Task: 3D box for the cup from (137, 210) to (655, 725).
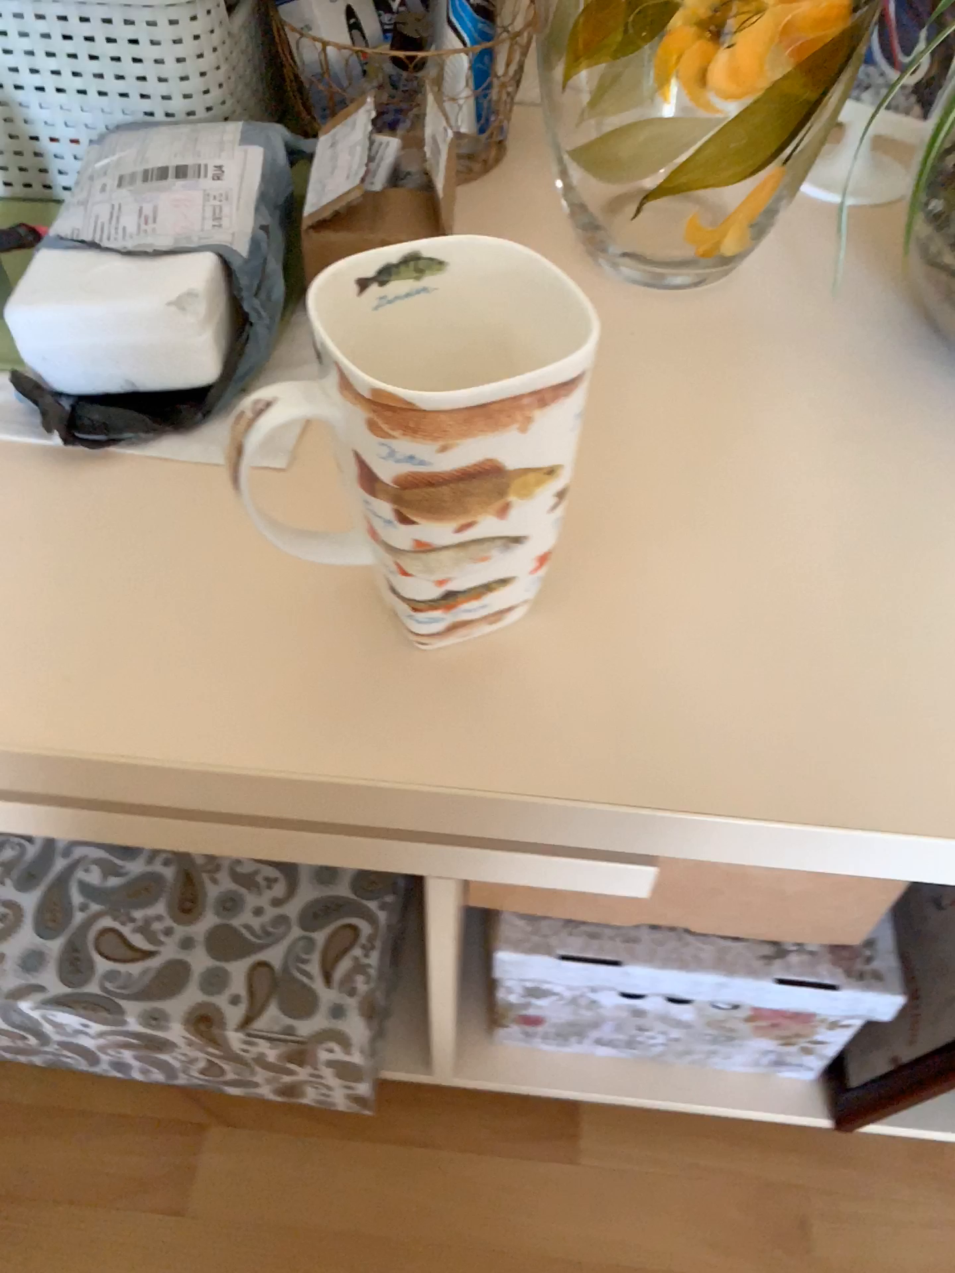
[{"bbox_3d":[-0.029,-0.062,0.358,0.139,0.121,0.092,-21,53,-19],"label":"cup"}]
